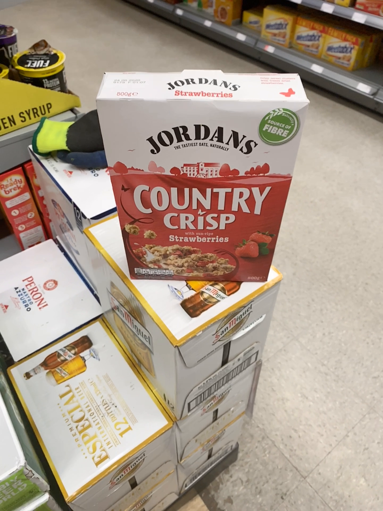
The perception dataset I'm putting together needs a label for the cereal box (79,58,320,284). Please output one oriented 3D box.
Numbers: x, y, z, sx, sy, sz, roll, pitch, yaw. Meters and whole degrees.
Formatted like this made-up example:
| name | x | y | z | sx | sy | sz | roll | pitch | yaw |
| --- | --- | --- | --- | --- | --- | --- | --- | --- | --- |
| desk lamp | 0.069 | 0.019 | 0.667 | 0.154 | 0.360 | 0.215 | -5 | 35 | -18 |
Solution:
| name | x | y | z | sx | sy | sz | roll | pitch | yaw |
| --- | --- | --- | --- | --- | --- | --- | --- | --- | --- |
| cereal box | 0.005 | -0.070 | 0.424 | 0.190 | 0.248 | 0.061 | 1 | 49 | 0 |
